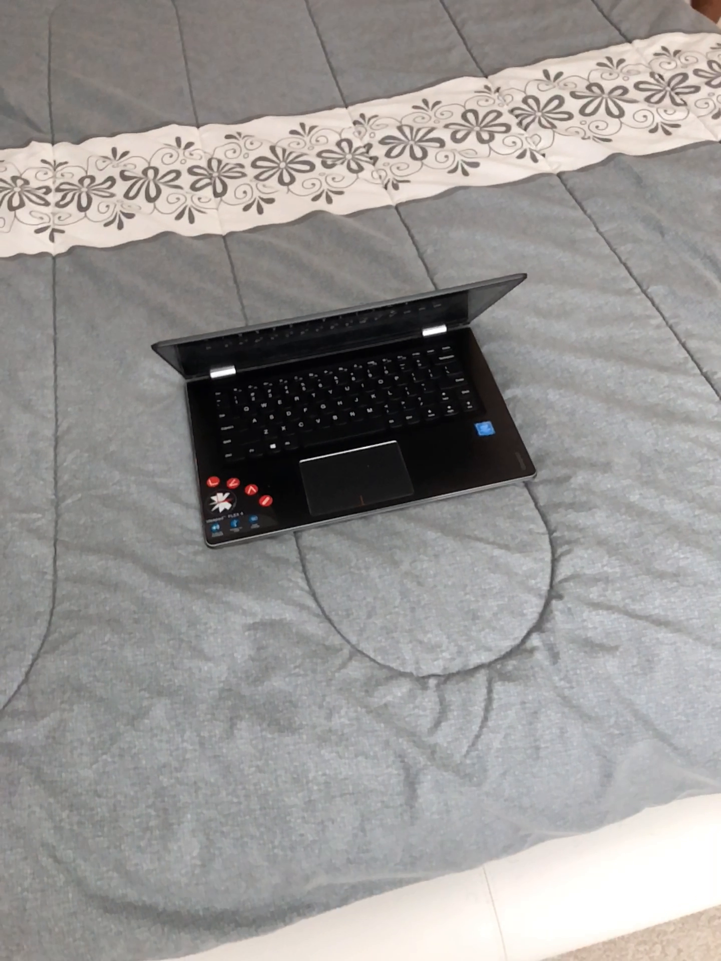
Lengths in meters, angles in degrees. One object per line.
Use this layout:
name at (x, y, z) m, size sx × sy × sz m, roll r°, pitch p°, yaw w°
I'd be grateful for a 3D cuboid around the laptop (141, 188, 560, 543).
laptop at (-0.016, -0.106, 0.717) m, size 0.304 × 0.167 × 0.215 m, roll -12°, pitch 53°, yaw -5°
